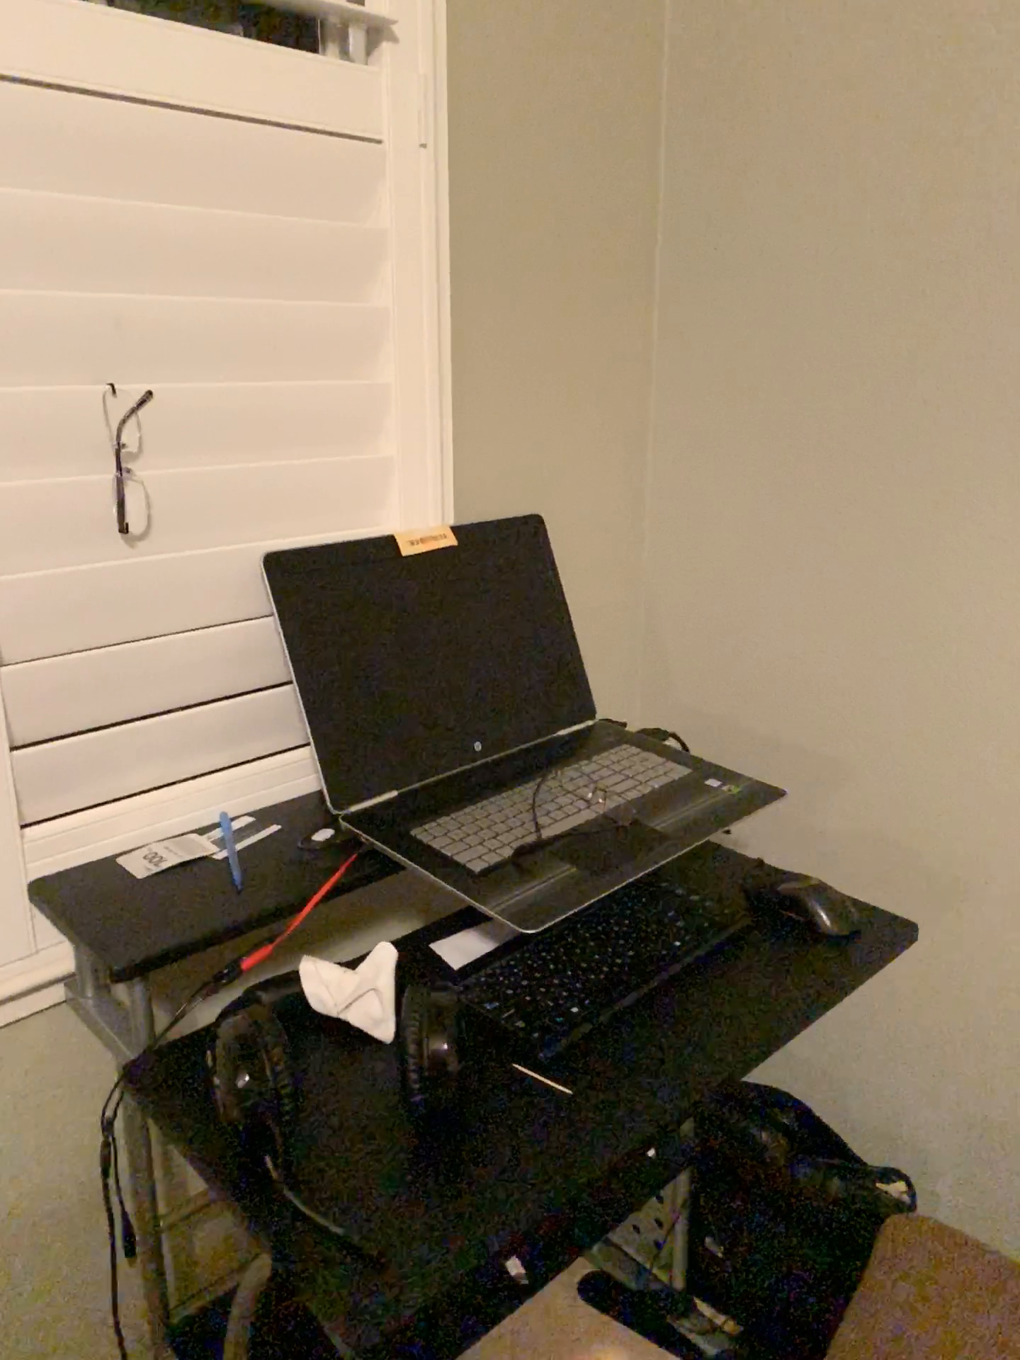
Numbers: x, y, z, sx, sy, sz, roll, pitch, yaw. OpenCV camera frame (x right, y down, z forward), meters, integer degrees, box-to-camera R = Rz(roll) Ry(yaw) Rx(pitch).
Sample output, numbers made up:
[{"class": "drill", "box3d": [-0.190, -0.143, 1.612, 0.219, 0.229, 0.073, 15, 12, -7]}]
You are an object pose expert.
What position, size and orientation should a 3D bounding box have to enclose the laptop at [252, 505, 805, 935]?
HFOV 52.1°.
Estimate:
[{"class": "laptop", "box3d": [0.023, -0.007, 1.167, 0.434, 0.263, 0.419, -16, 26, -43]}]
